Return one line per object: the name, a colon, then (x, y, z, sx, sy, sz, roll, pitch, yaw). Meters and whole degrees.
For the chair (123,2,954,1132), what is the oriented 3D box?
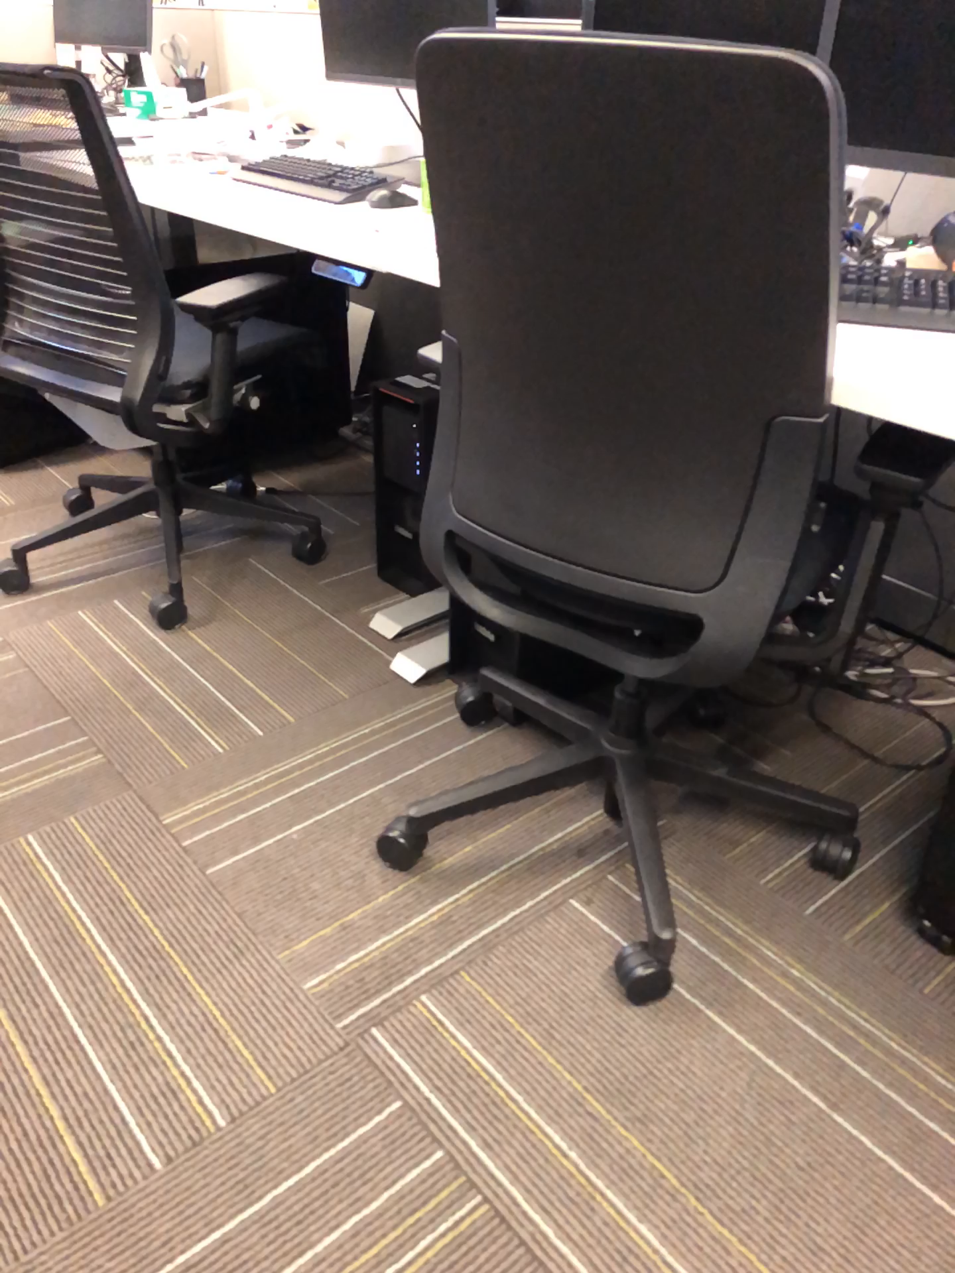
chair: (0.122, -0.178, 1.278, 0.662, 1.014, 0.782, -23, 38, -34)
